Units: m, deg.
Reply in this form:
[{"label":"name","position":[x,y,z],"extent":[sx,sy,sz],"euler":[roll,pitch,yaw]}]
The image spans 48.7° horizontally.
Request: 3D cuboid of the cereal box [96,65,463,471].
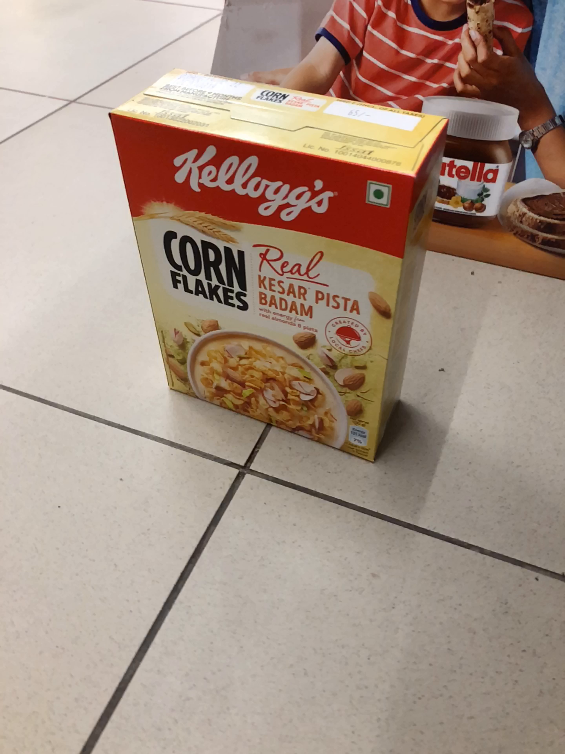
[{"label":"cereal box","position":[-0.002,-0.049,0.318],"extent":[0.140,0.169,0.060],"euler":[17,47,16]}]
